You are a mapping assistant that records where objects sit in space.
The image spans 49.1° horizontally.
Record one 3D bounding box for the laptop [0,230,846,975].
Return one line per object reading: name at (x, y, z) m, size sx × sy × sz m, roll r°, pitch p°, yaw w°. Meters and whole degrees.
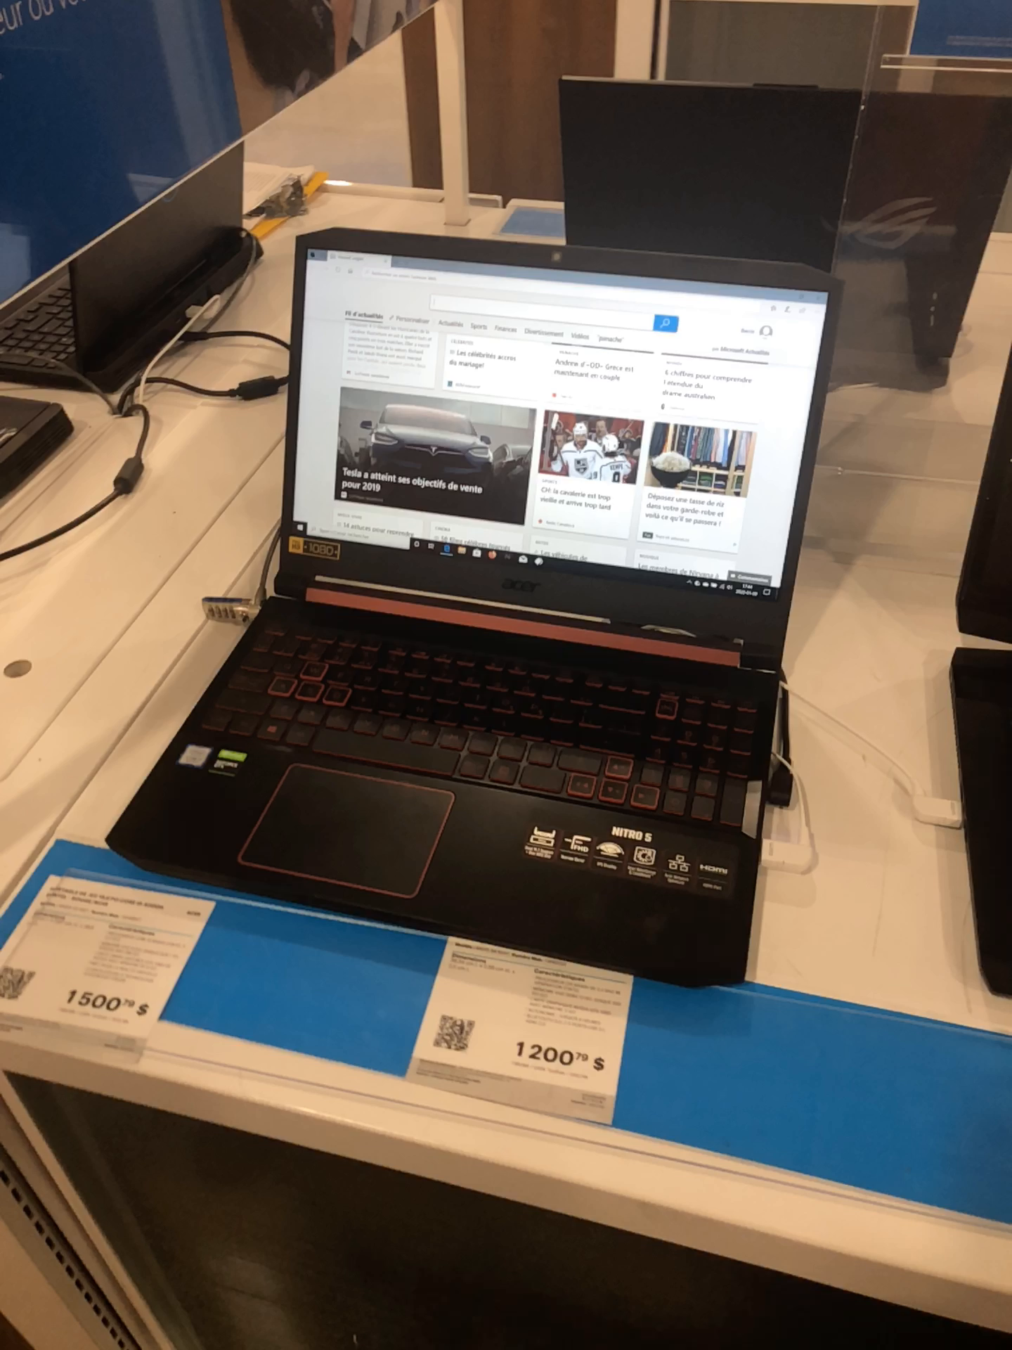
laptop at (-0.010, -0.074, 0.651) m, size 0.357 × 0.211 × 0.360 m, roll 9°, pitch 44°, yaw 12°
